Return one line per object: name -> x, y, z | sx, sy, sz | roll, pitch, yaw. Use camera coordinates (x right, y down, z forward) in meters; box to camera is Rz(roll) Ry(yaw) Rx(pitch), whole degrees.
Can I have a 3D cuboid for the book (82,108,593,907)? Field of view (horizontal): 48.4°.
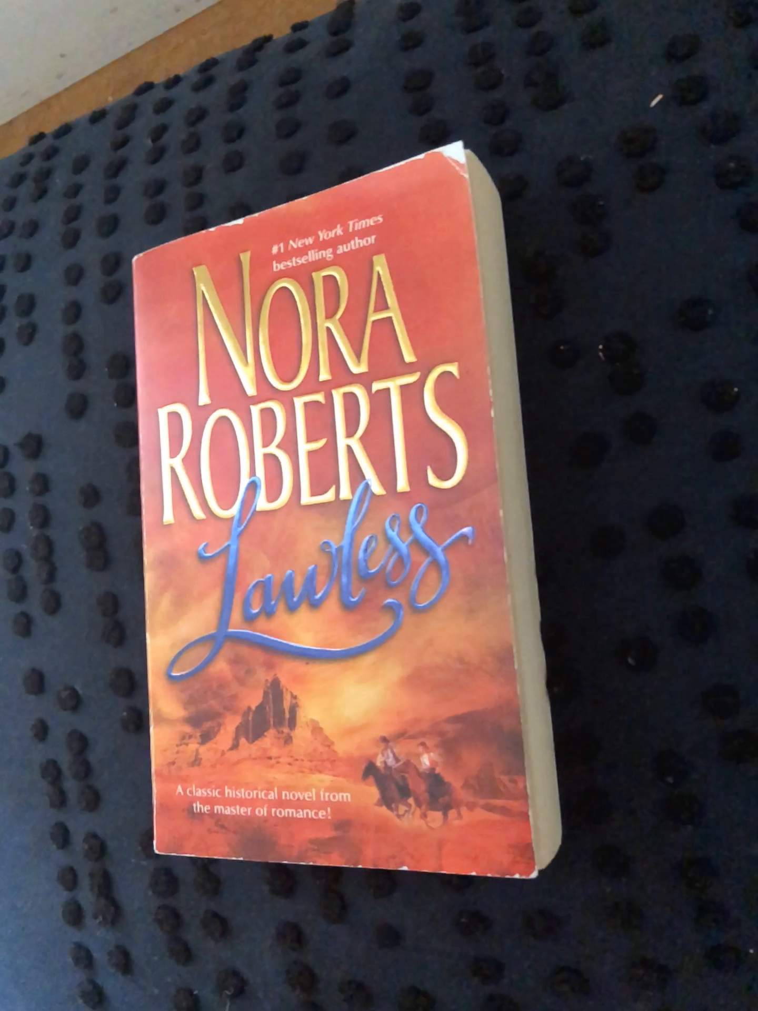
book -> -0.015, 0.003, 0.226 | 0.120, 0.040, 0.180 | -7, 82, 19
